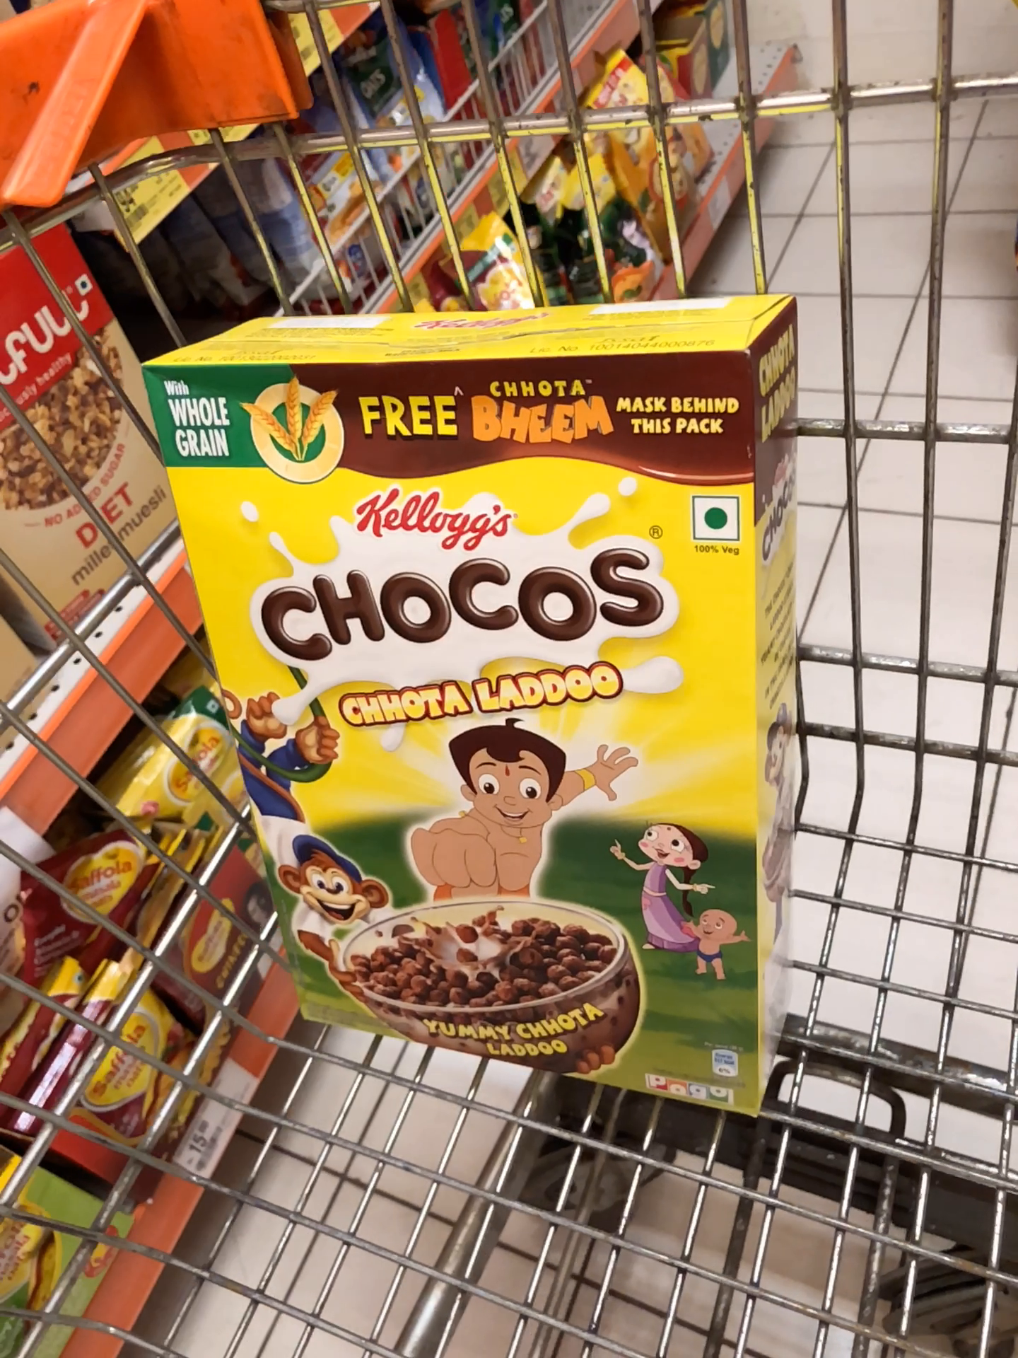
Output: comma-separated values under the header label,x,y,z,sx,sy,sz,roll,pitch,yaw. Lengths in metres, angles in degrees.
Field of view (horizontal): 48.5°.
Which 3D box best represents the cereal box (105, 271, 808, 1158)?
label,x,y,z,sx,sy,sz,roll,pitch,yaw
cereal box,-0.002,0.010,0.364,0.180,0.249,0.080,4,26,22
